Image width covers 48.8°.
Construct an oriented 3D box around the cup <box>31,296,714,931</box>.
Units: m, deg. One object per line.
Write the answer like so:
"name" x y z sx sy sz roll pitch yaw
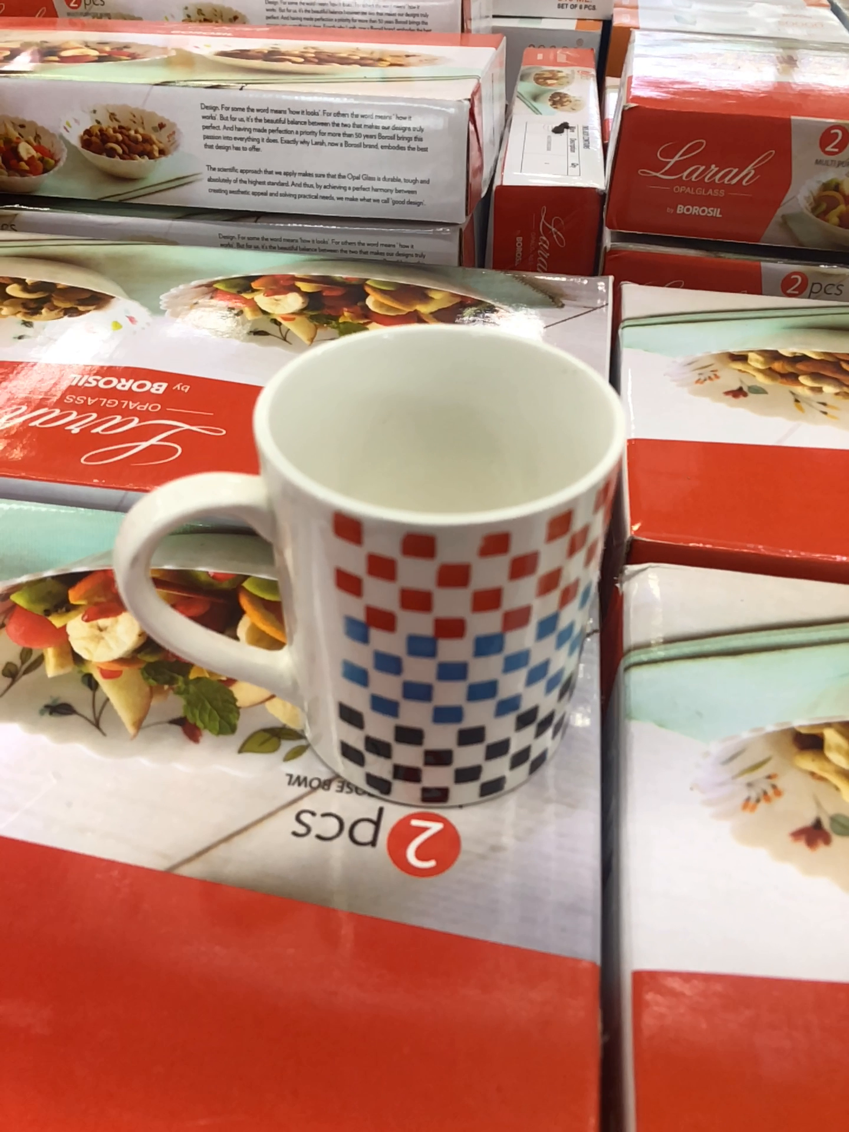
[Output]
"cup" -0.017 0.004 0.226 0.120 0.089 0.090 -14 42 -19
